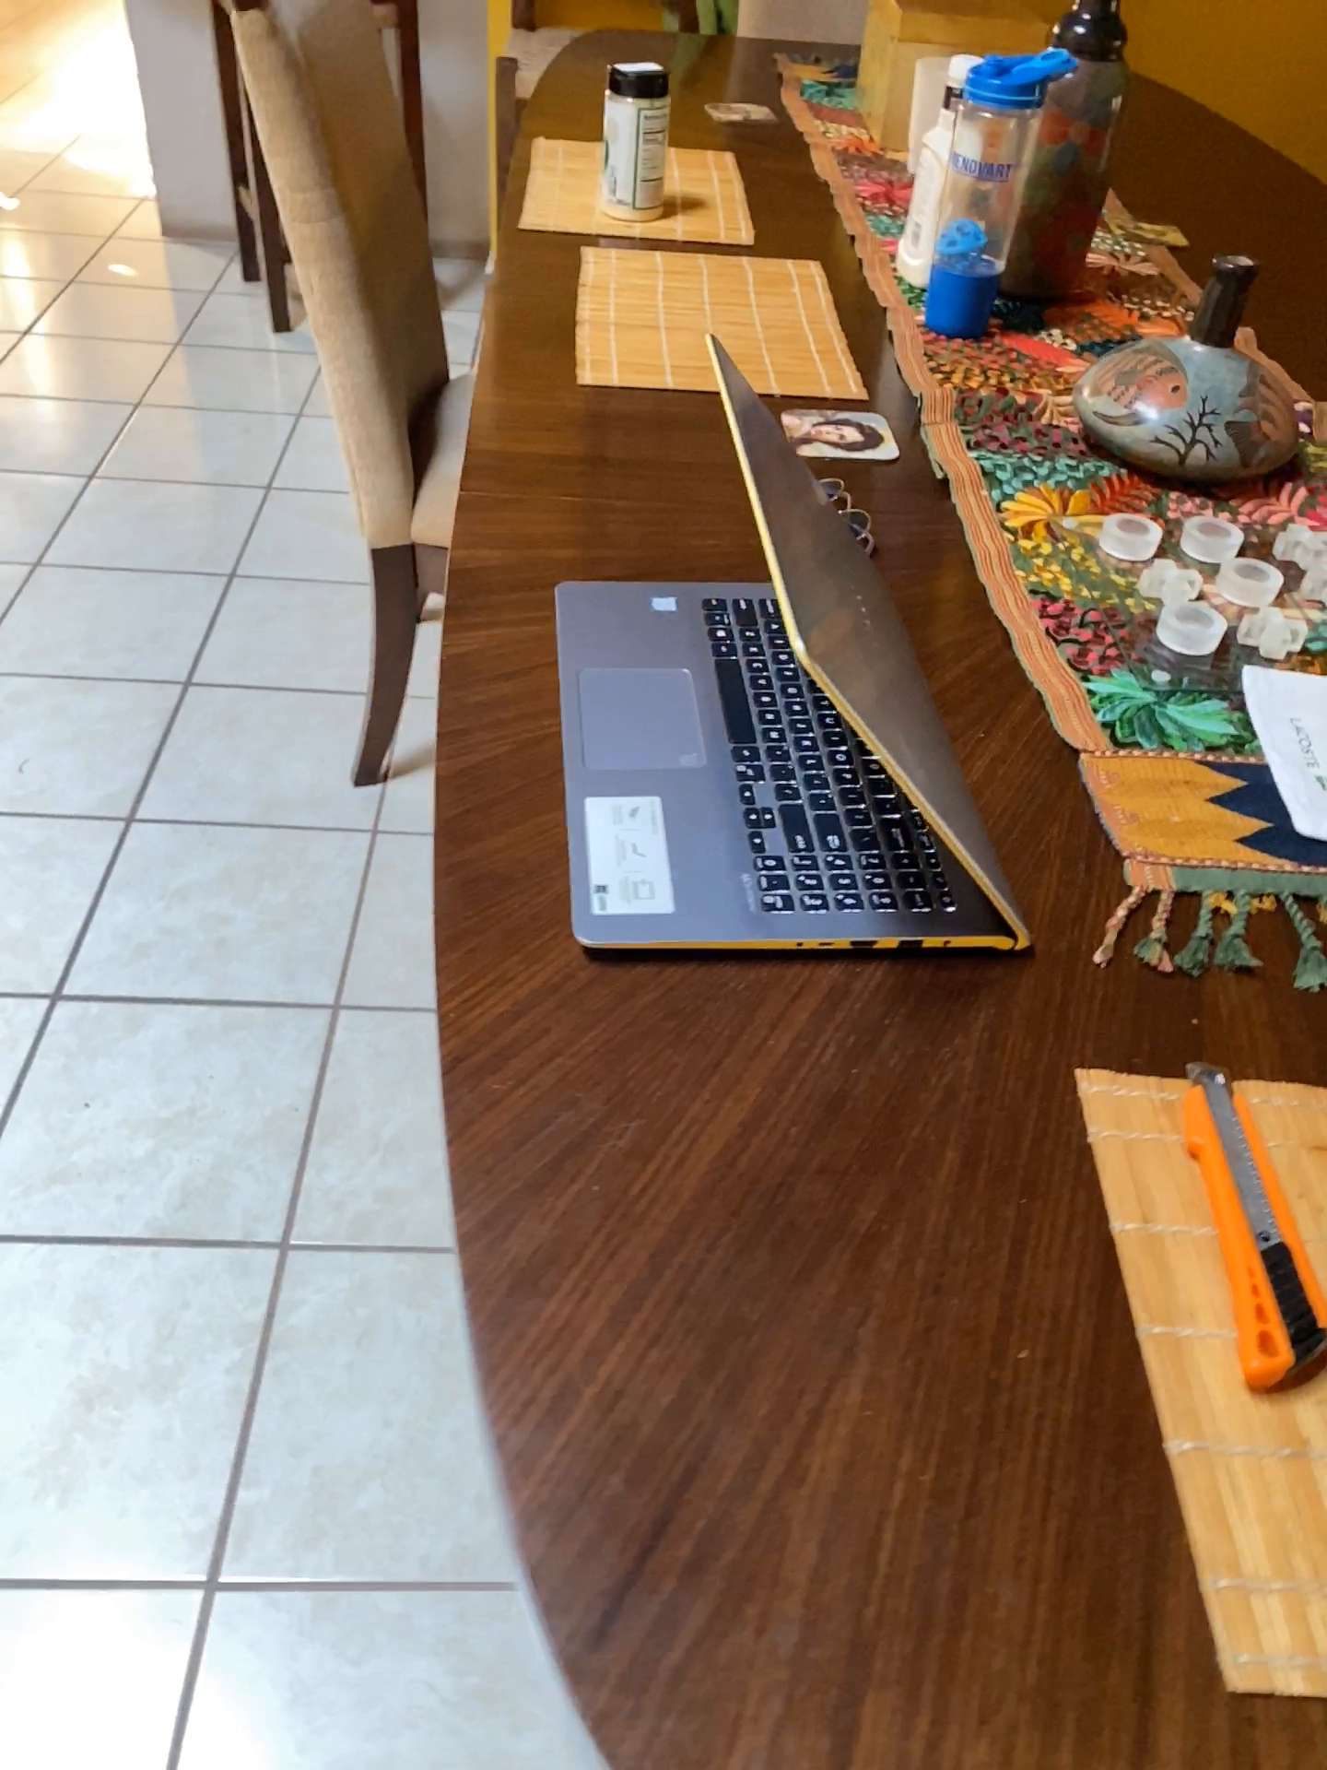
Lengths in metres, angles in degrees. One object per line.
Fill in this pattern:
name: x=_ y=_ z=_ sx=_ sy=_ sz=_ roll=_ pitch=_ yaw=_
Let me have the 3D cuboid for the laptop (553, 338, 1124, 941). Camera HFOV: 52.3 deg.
laptop: x=0.068 y=-0.164 z=0.824 sx=0.250 sy=0.181 sz=0.378 roll=0 pitch=43 yaw=-7
